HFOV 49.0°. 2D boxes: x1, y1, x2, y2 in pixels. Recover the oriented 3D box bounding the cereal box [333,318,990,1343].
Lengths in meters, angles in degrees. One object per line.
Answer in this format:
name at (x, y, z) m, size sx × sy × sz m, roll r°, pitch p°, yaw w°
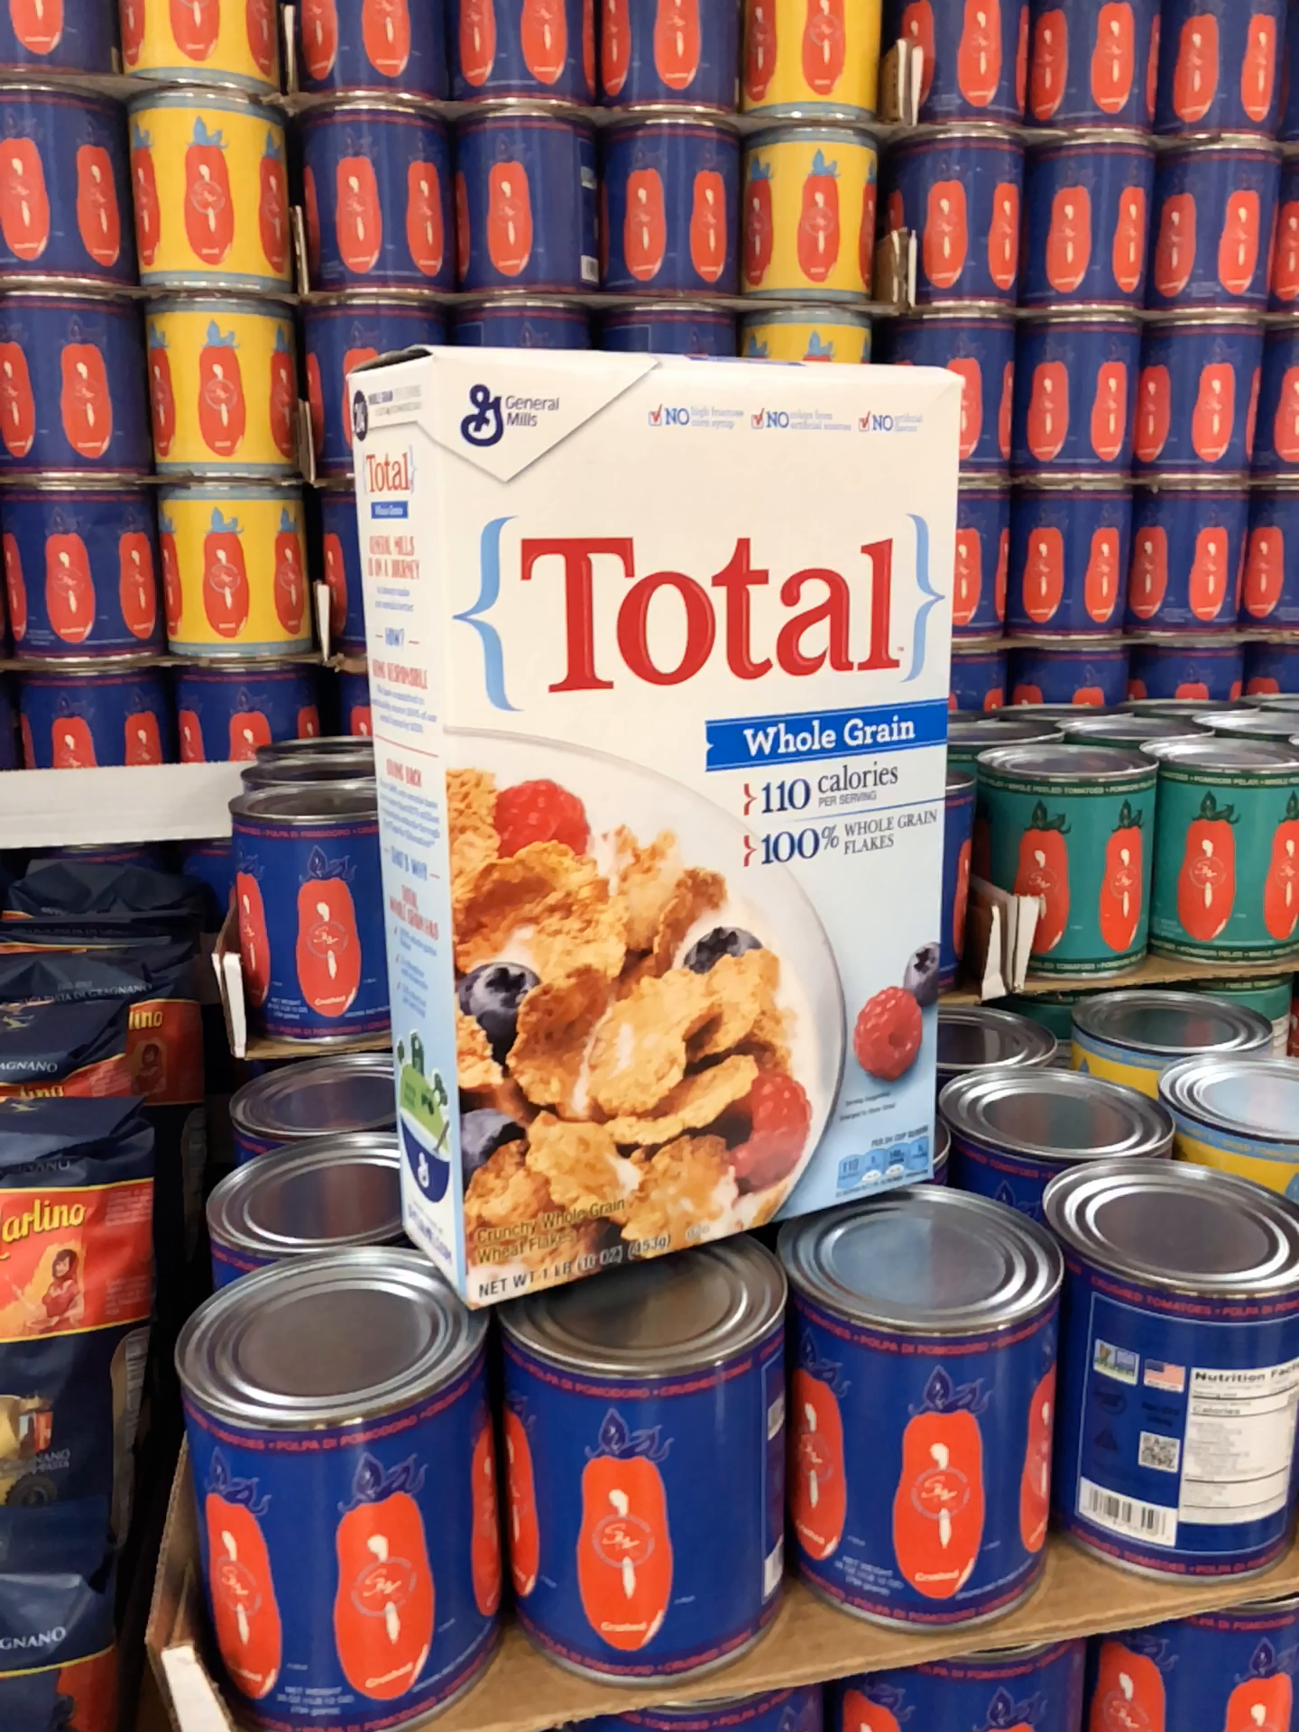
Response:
cereal box at (0.011, -0.019, 0.503) m, size 0.210 × 0.309 × 0.070 m, roll -8°, pitch 13°, yaw -28°
